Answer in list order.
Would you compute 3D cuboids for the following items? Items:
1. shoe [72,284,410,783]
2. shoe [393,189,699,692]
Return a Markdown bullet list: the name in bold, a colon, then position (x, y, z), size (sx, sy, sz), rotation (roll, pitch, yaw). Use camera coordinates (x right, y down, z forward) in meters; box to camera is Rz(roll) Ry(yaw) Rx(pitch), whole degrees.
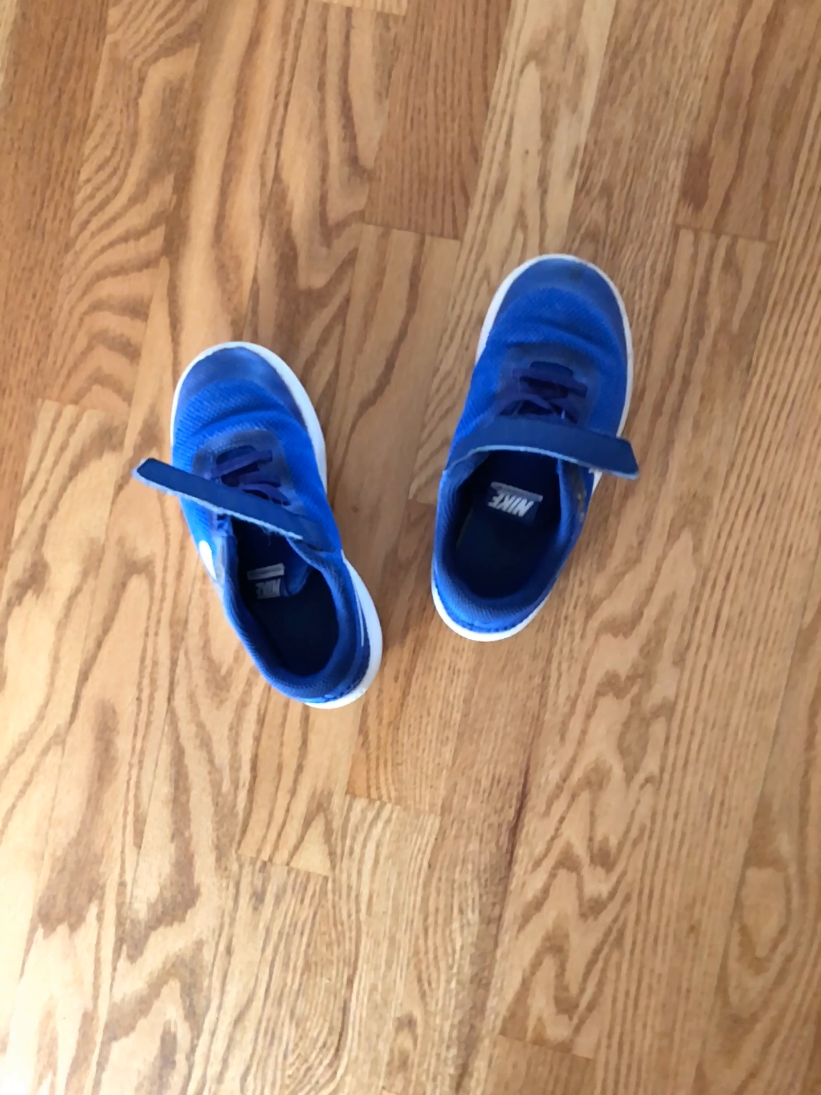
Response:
- **shoe**: position (-0.080, -0.007, 0.467), size (0.093, 0.092, 0.214), rotation (-17, 90, 5)
- **shoe**: position (0.064, -0.050, 0.459), size (0.093, 0.092, 0.214), rotation (13, 92, 5)
